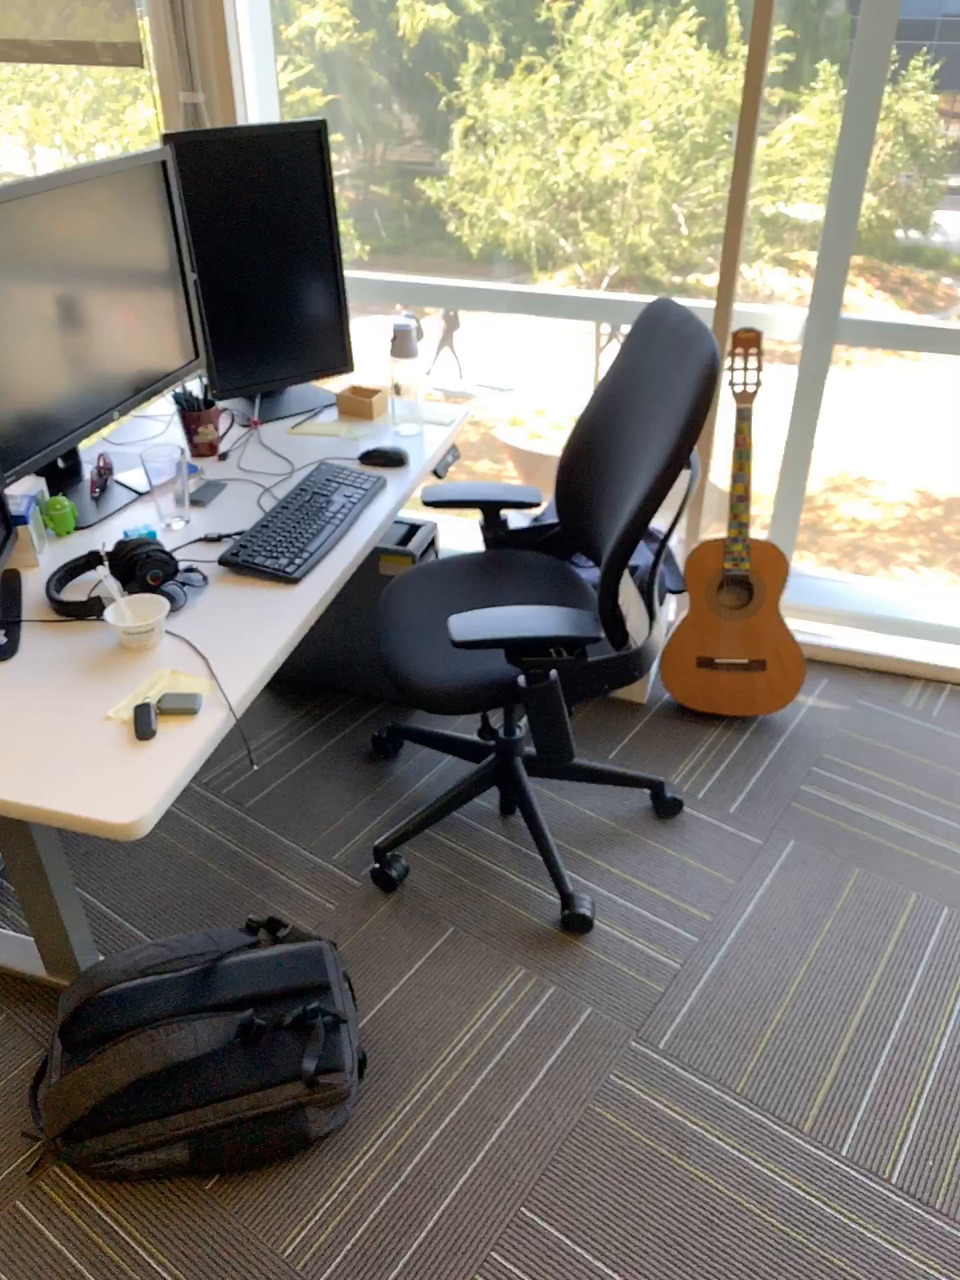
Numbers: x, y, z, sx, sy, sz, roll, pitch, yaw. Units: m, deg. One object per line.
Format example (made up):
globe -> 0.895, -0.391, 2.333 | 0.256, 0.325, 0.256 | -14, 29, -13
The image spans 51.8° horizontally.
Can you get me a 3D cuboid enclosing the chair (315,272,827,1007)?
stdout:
chair -> 0.091, -0.010, 1.996 | 0.690, 1.223, 0.714 | -6, 33, -10
